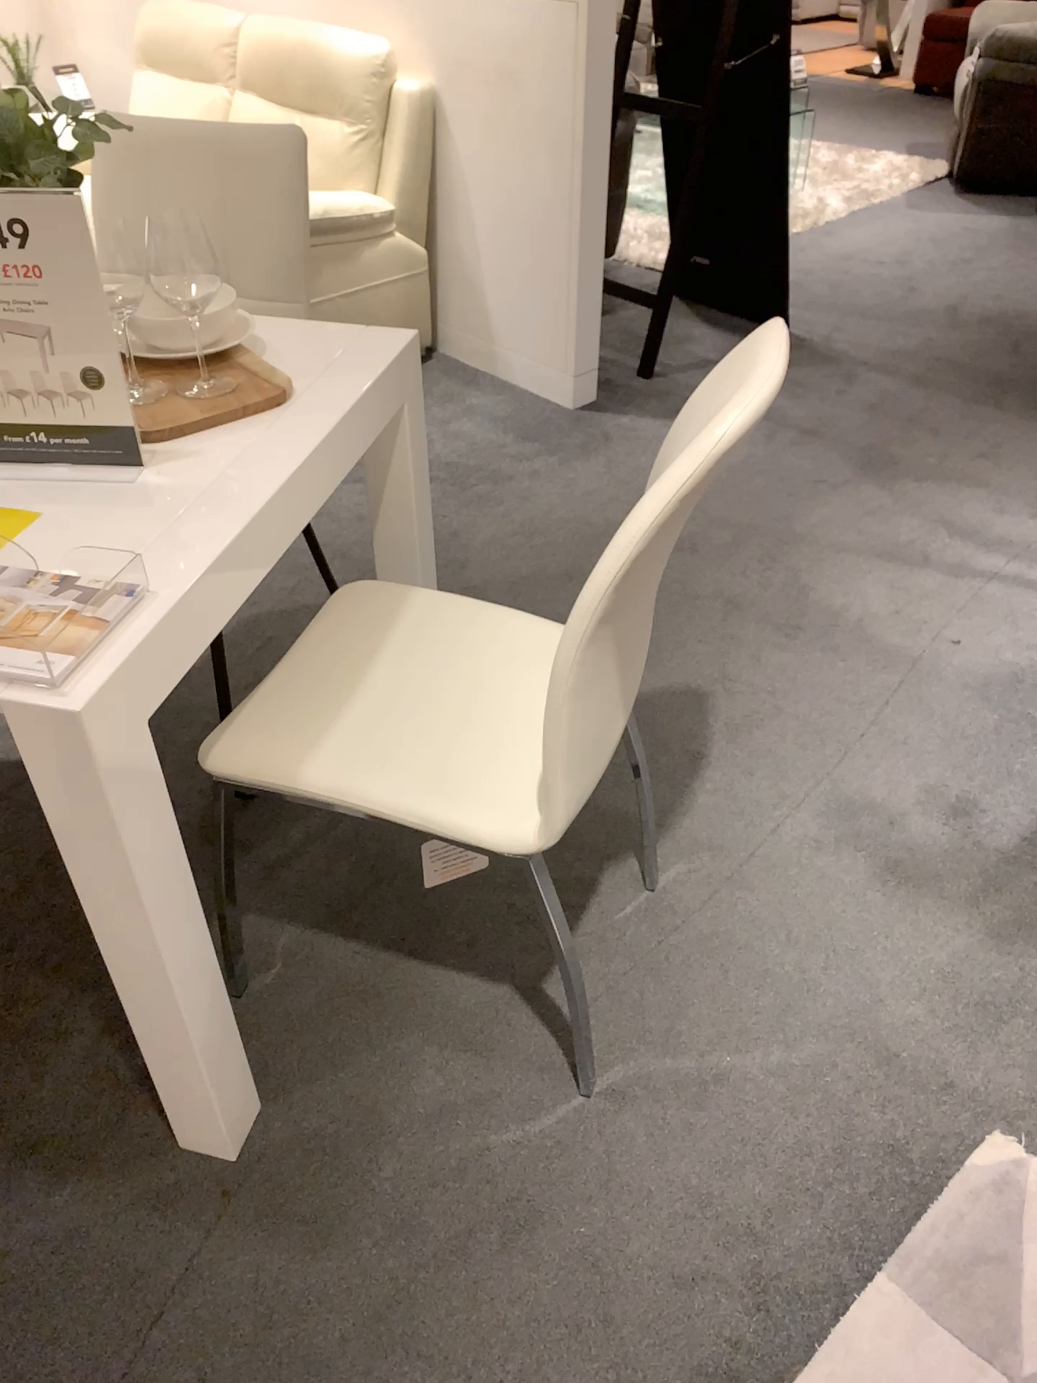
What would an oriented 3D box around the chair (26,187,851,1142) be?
[{"bbox_3d":[-0.042,-0.018,1.300,0.645,0.954,0.483,13,40,15],"label":"chair"}]
